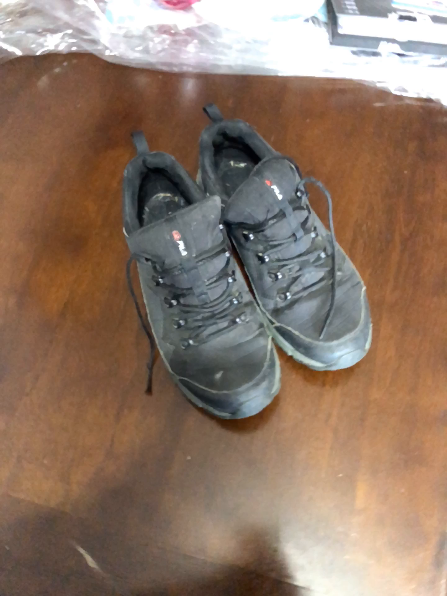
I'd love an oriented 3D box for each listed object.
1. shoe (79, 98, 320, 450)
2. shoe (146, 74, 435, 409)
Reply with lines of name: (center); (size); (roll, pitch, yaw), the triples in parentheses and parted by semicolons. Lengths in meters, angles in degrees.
shoe: (-0.030, -0.025, 0.541); (0.120, 0.170, 0.320); (-22, 65, -5)
shoe: (0.054, -0.064, 0.544); (0.120, 0.150, 0.320); (-29, 65, -8)
